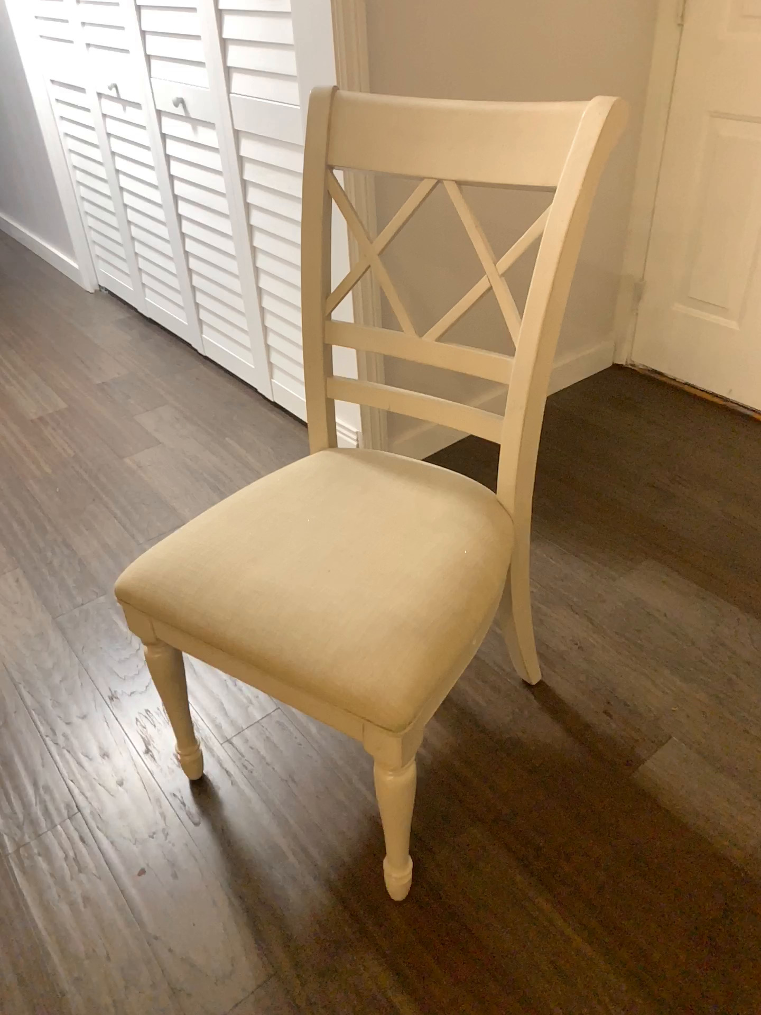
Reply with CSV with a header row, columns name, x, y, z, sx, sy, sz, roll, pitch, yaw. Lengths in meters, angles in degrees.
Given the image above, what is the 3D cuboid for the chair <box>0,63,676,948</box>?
name,x,y,z,sx,sy,sz,roll,pitch,yaw
chair,-0.035,-0.029,1.125,0.581,0.994,0.612,18,41,27
